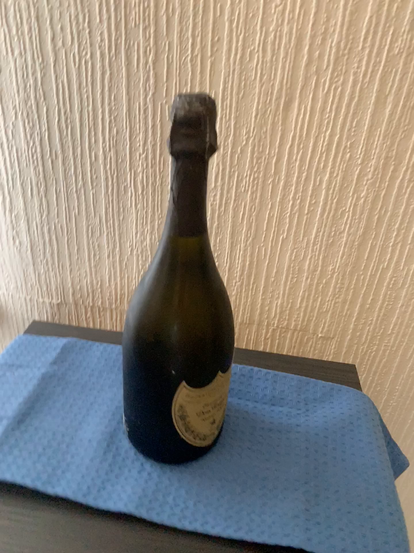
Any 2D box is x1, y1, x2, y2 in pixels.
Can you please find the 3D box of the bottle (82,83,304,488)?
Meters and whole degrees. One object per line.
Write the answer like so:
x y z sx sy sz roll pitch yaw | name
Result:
-0.022 0.014 0.342 0.100 0.297 0.101 4 30 -2 | bottle
